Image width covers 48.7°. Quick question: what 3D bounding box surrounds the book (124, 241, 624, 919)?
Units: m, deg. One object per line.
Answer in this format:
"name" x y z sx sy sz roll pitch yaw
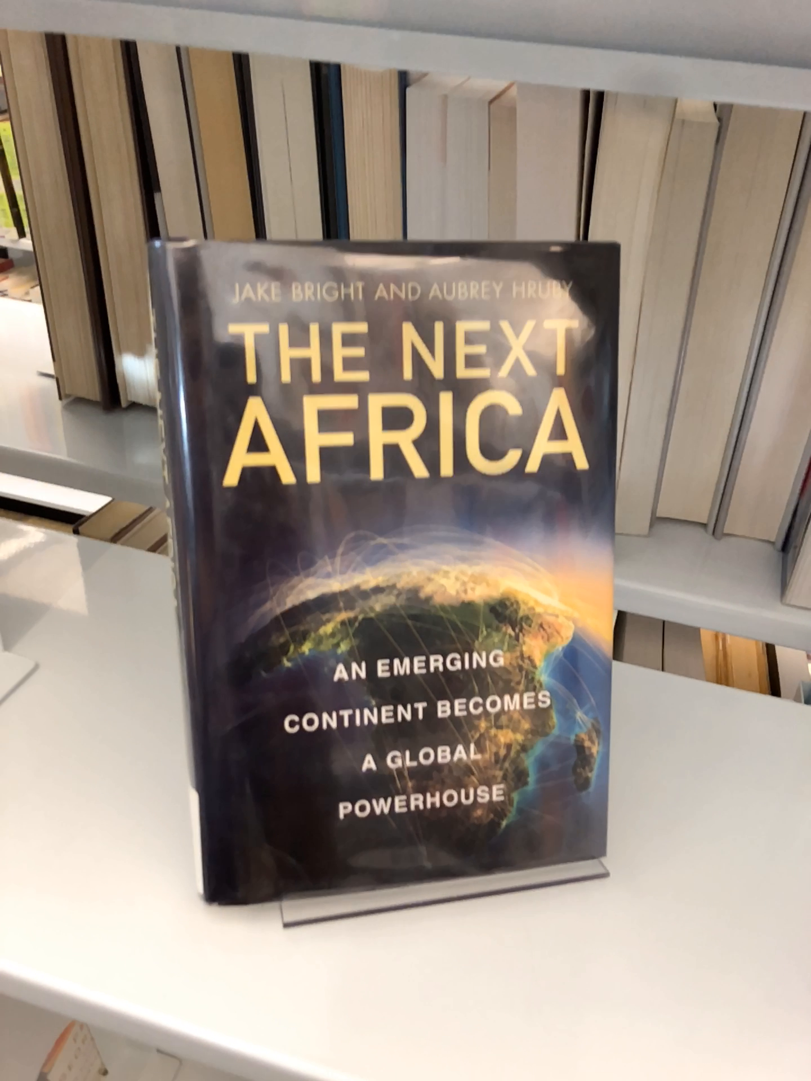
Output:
"book" -0.006 0.012 0.302 0.153 0.211 0.030 -3 10 -11
